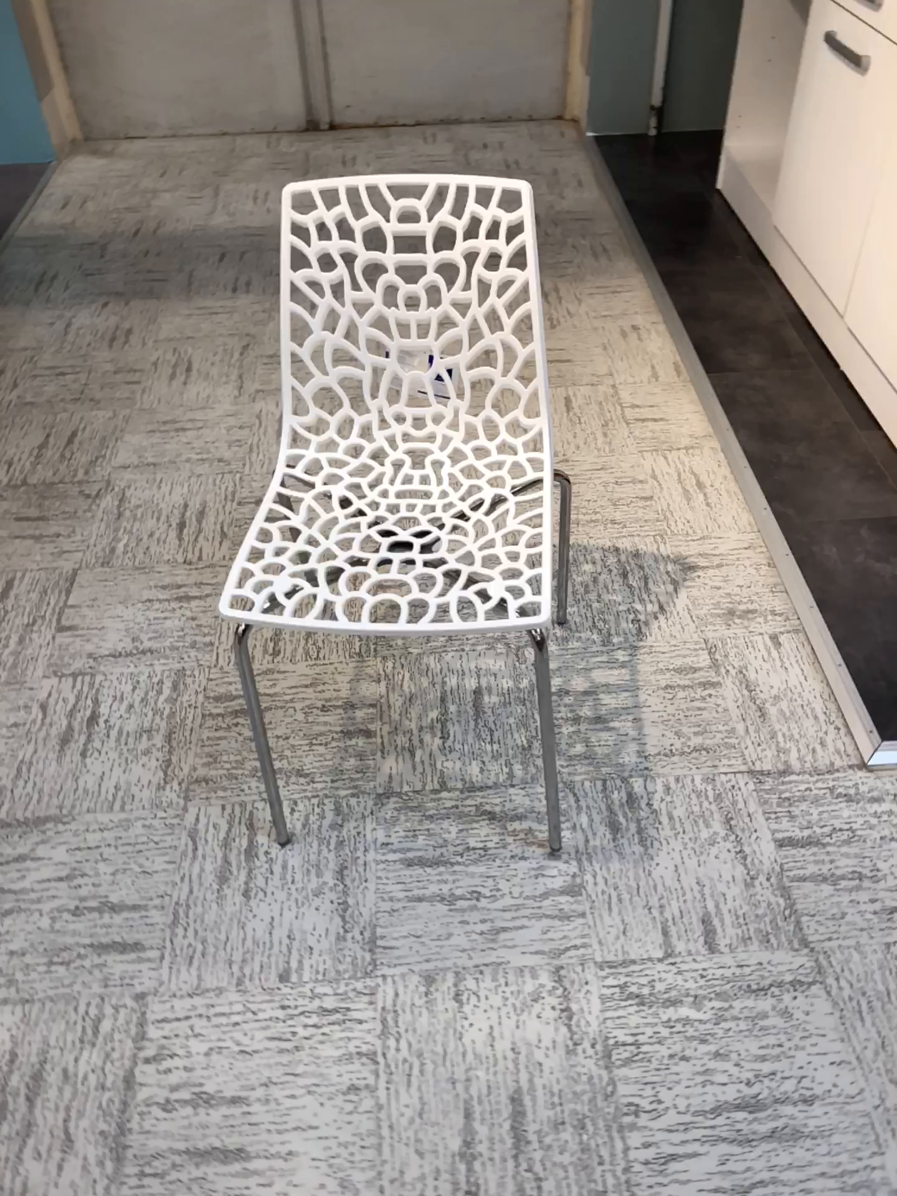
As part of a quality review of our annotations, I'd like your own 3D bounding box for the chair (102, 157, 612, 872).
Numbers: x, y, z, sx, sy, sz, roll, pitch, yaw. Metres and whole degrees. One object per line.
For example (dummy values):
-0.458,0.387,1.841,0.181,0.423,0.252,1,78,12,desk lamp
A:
-0.053,-0.090,1.306,0.450,0.785,0.513,2,42,4,chair
